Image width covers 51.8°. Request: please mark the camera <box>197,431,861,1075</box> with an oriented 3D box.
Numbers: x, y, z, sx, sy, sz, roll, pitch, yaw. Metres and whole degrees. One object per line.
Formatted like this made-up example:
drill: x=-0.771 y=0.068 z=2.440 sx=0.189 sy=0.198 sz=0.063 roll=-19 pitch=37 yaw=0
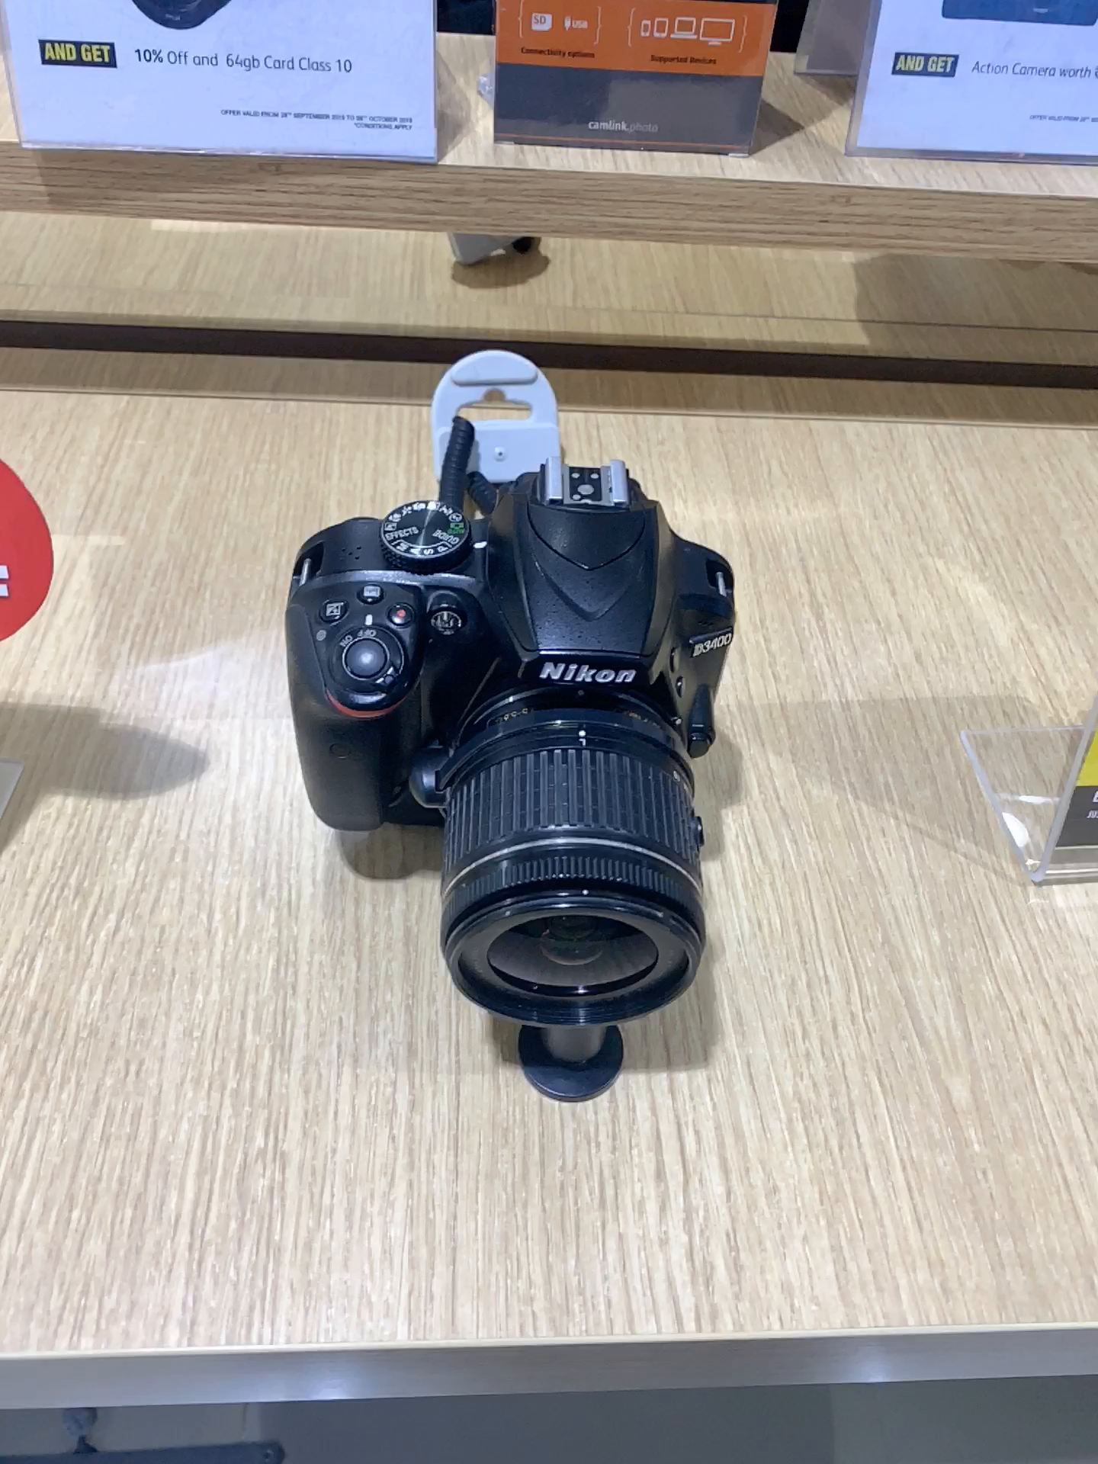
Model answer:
camera: x=-0.008 y=0.002 z=0.281 sx=0.120 sy=0.090 sz=0.130 roll=0 pitch=48 yaw=-5
